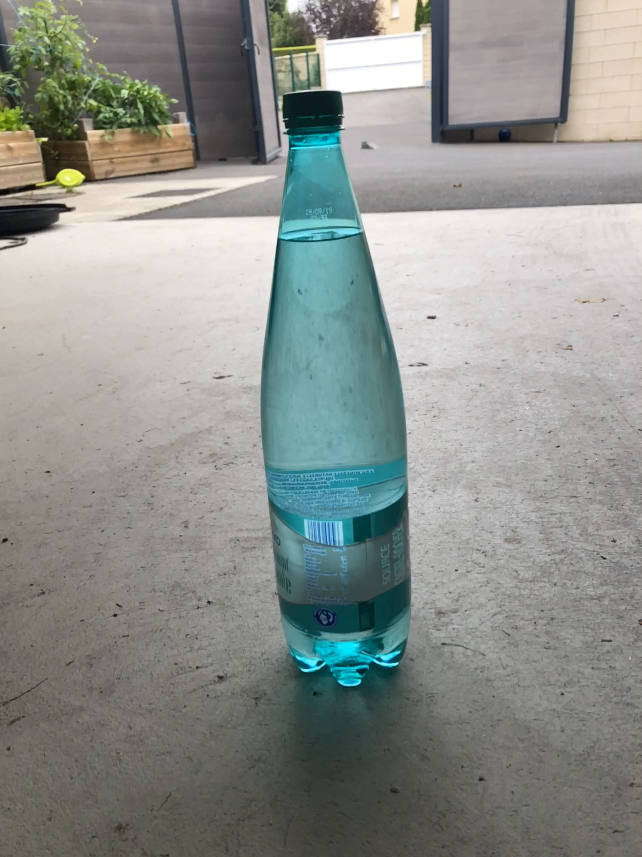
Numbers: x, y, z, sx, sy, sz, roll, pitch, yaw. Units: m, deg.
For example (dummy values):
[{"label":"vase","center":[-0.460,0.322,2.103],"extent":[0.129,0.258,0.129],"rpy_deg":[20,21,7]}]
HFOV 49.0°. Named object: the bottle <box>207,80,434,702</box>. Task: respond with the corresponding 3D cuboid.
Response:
[{"label":"bottle","center":[0.003,-0.013,0.398],"extent":[0.090,0.318,0.100],"rpy_deg":[-7,23,-6]}]
